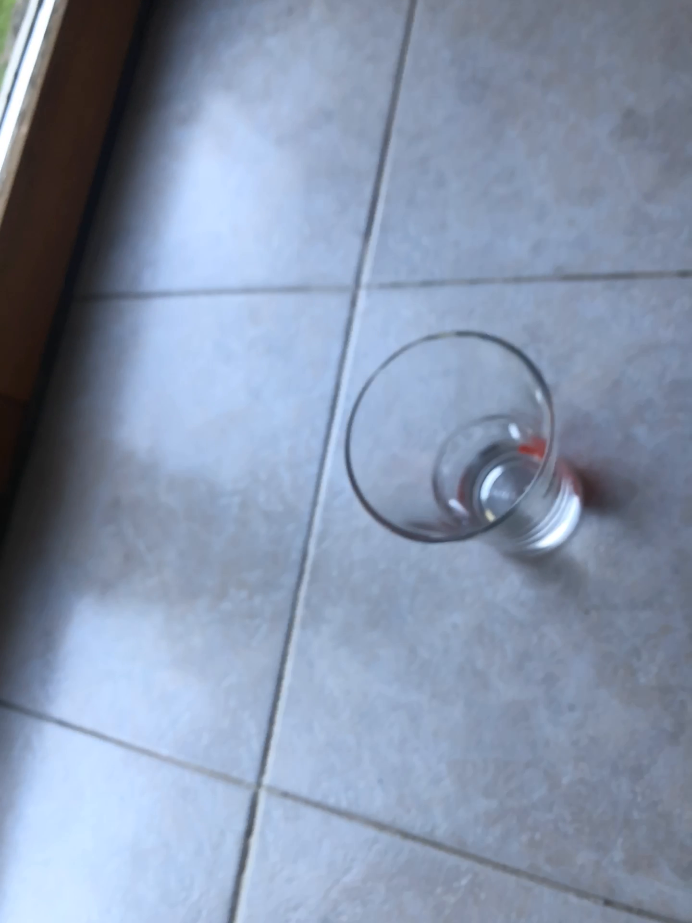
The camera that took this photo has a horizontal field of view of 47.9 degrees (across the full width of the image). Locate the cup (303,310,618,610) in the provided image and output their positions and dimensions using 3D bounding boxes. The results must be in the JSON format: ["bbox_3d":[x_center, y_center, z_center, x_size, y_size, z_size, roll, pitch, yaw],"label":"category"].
[{"bbox_3d":[0.060,0.004,0.362,0.092,0.116,0.095,-7,72,24],"label":"cup"}]
